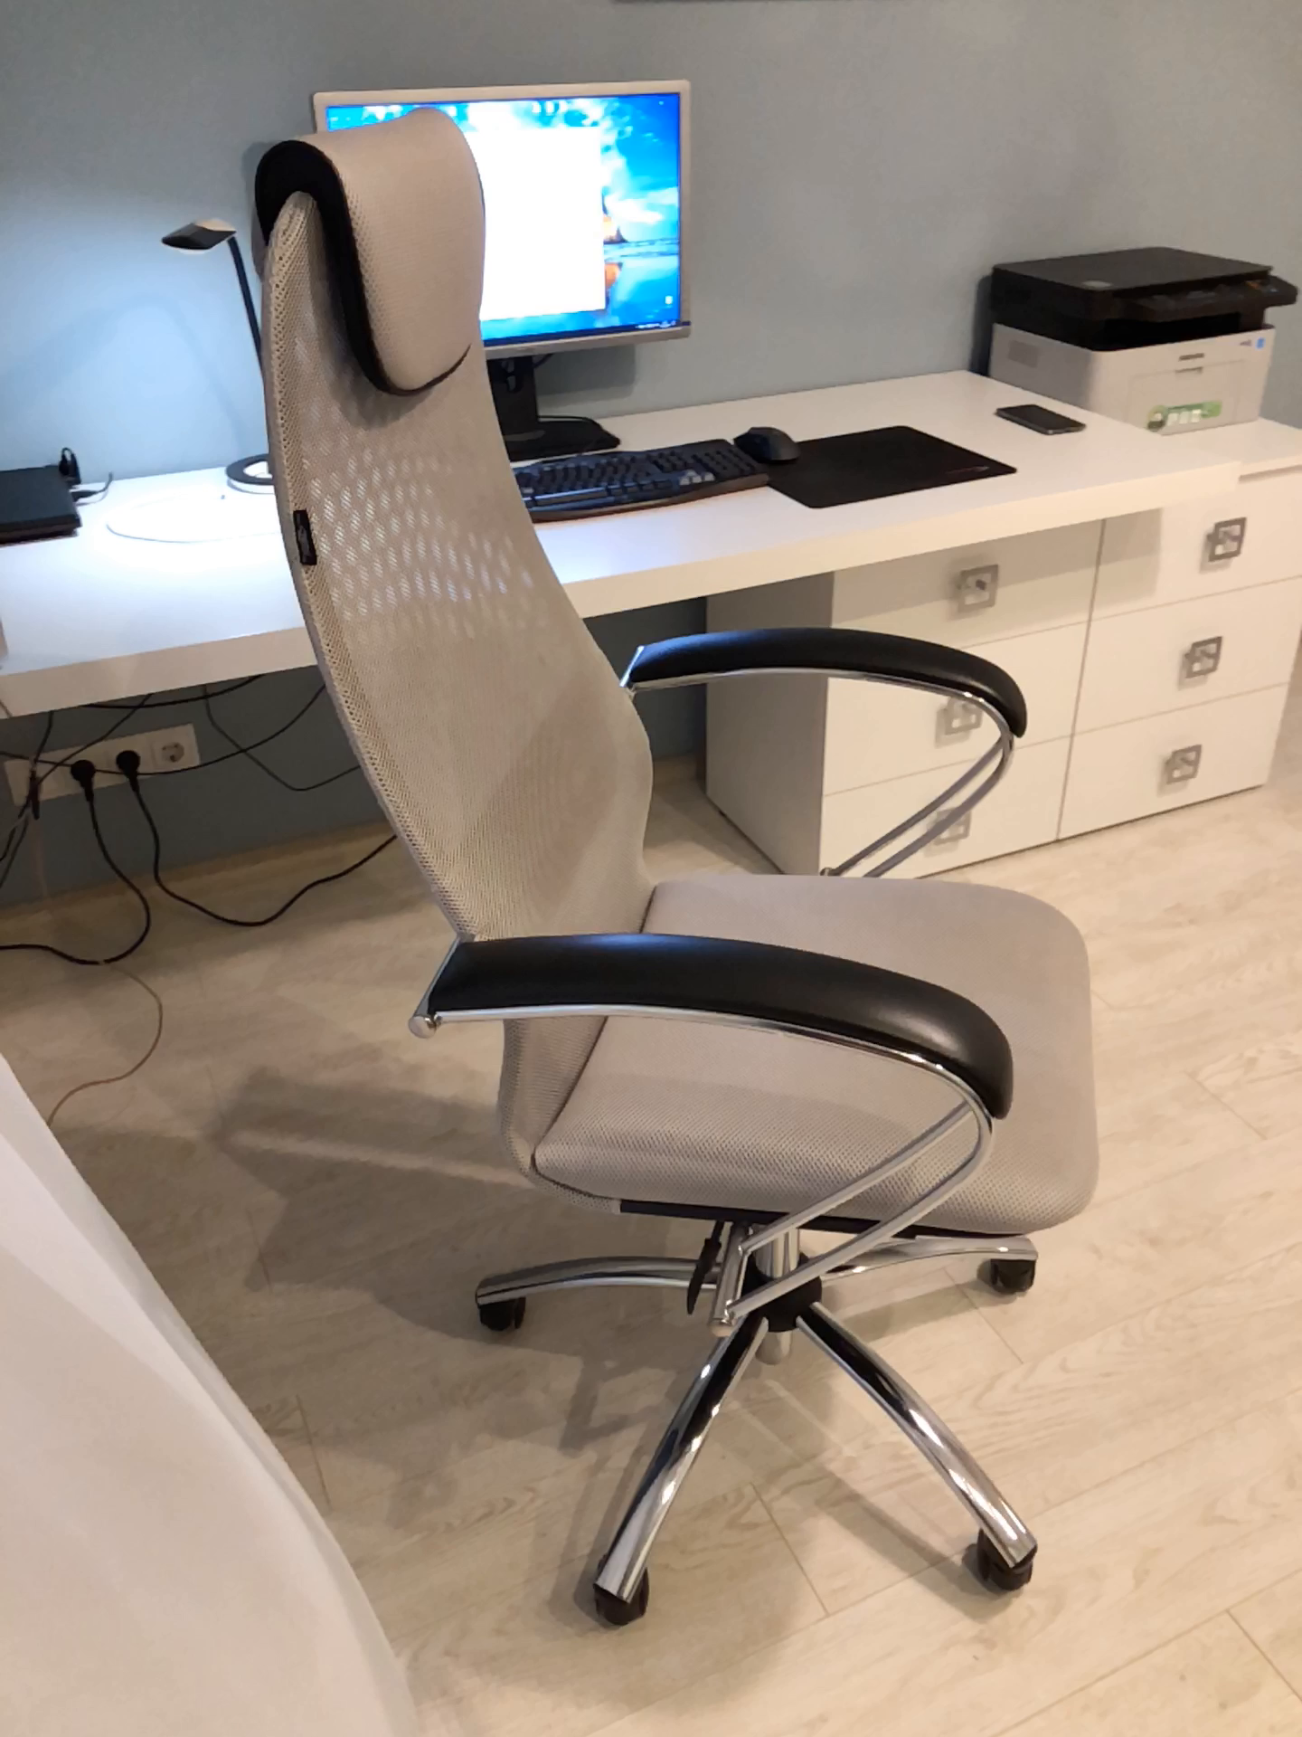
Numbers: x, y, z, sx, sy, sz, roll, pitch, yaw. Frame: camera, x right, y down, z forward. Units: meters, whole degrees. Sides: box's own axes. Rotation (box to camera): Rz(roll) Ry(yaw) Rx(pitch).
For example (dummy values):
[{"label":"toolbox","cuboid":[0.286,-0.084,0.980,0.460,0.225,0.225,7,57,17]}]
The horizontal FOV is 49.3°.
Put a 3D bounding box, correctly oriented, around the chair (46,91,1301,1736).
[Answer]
[{"label":"chair","cuboid":[0.098,0.047,1.298,0.680,1.291,0.695,6,32,11]}]
